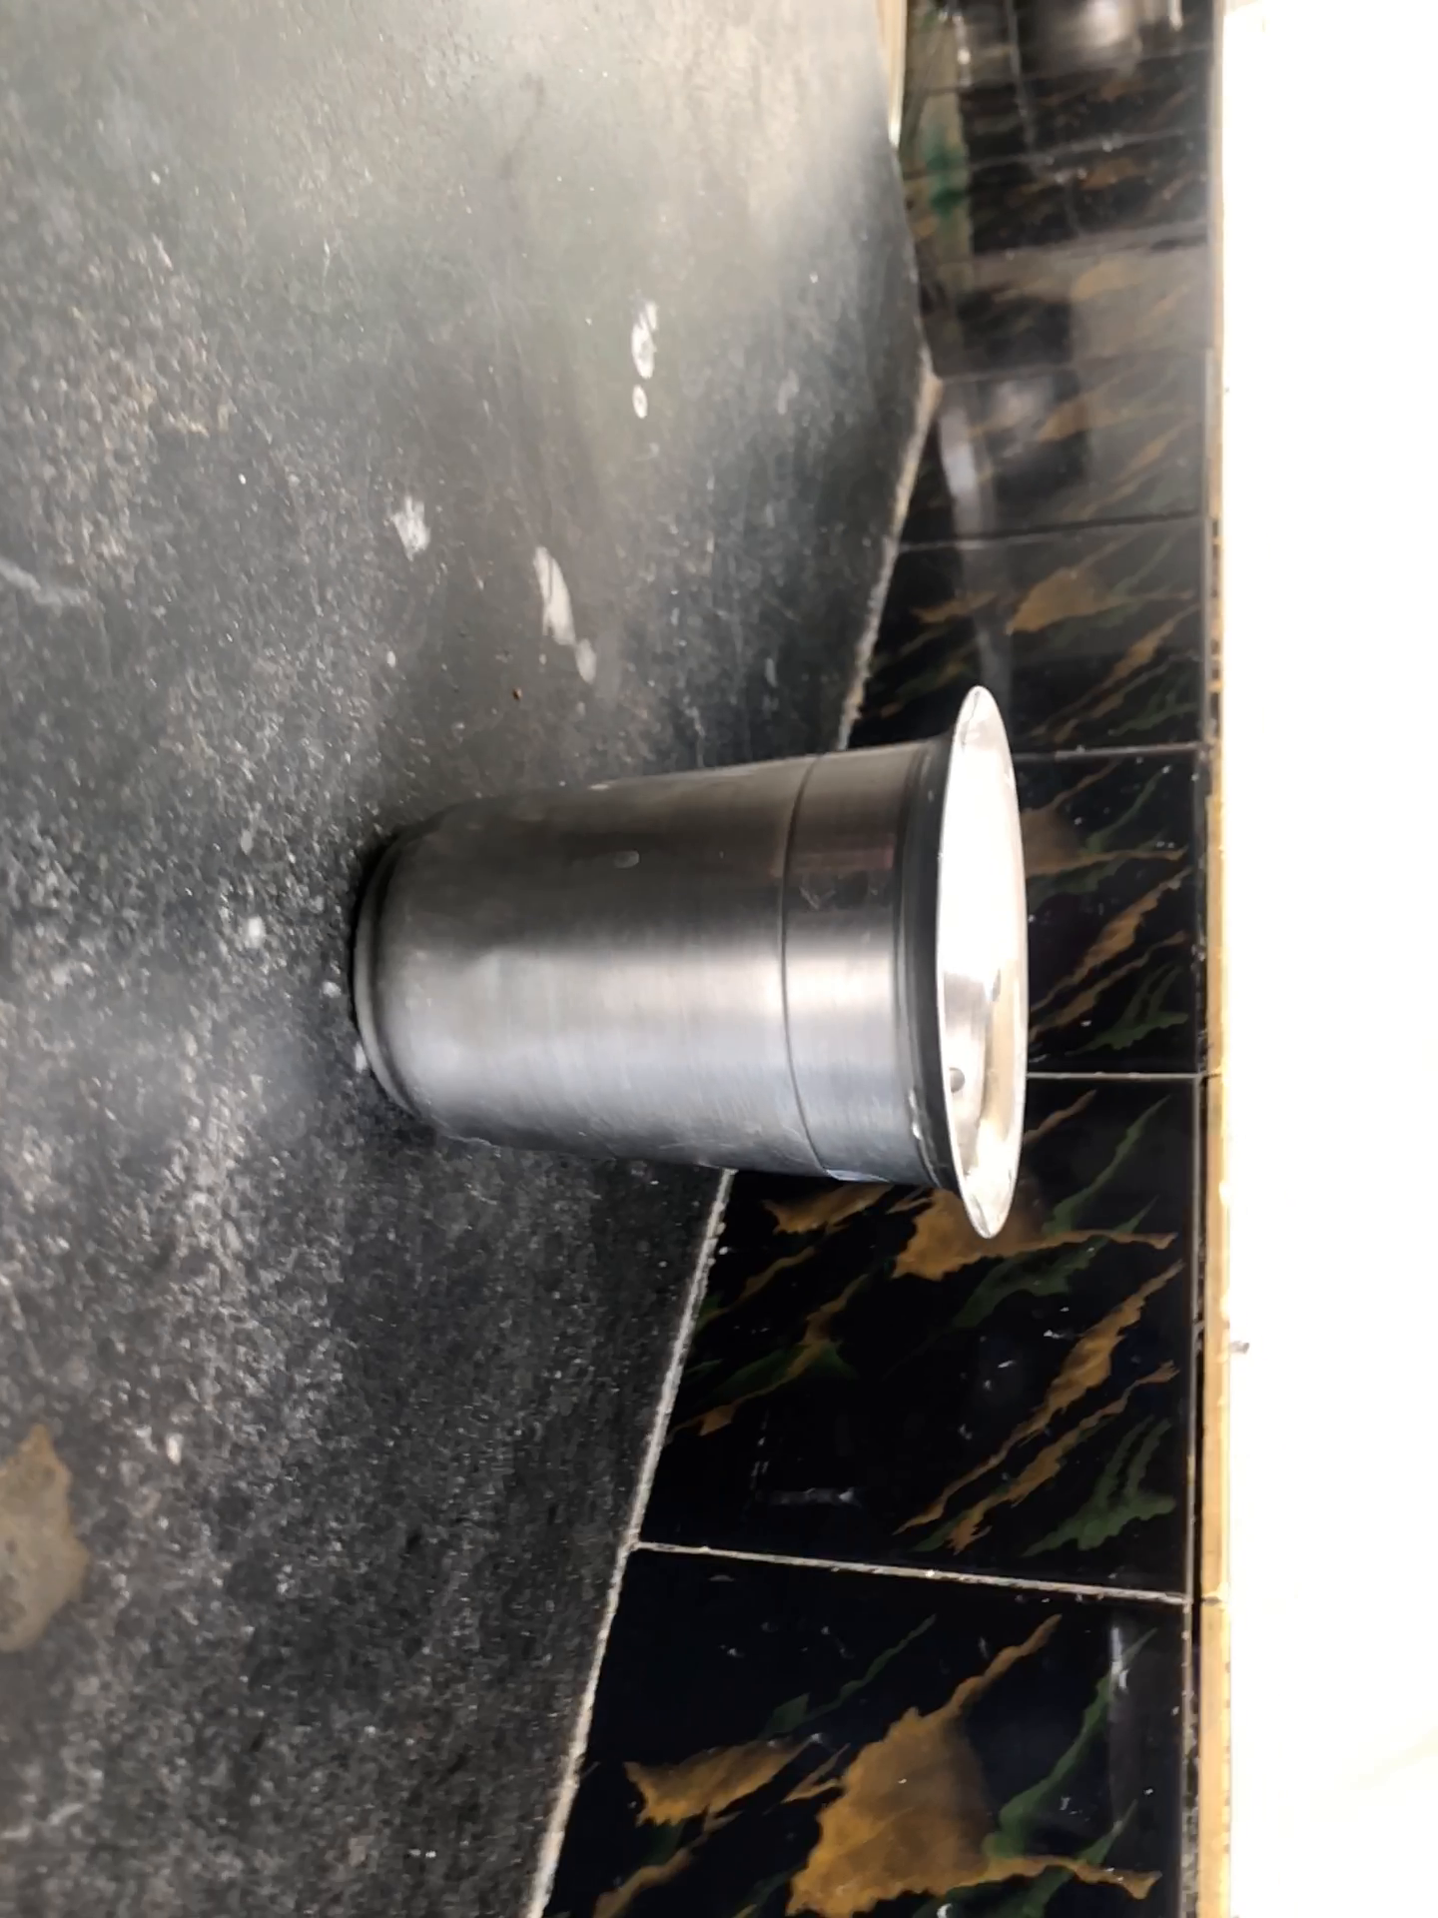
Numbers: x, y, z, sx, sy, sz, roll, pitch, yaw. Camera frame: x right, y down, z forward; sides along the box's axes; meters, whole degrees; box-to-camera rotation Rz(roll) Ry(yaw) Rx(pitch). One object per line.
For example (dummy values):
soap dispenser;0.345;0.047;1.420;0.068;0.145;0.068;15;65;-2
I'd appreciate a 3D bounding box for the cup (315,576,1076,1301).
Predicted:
cup;0.006;0.002;0.280;0.090;0.099;0.090;0;90;-73
